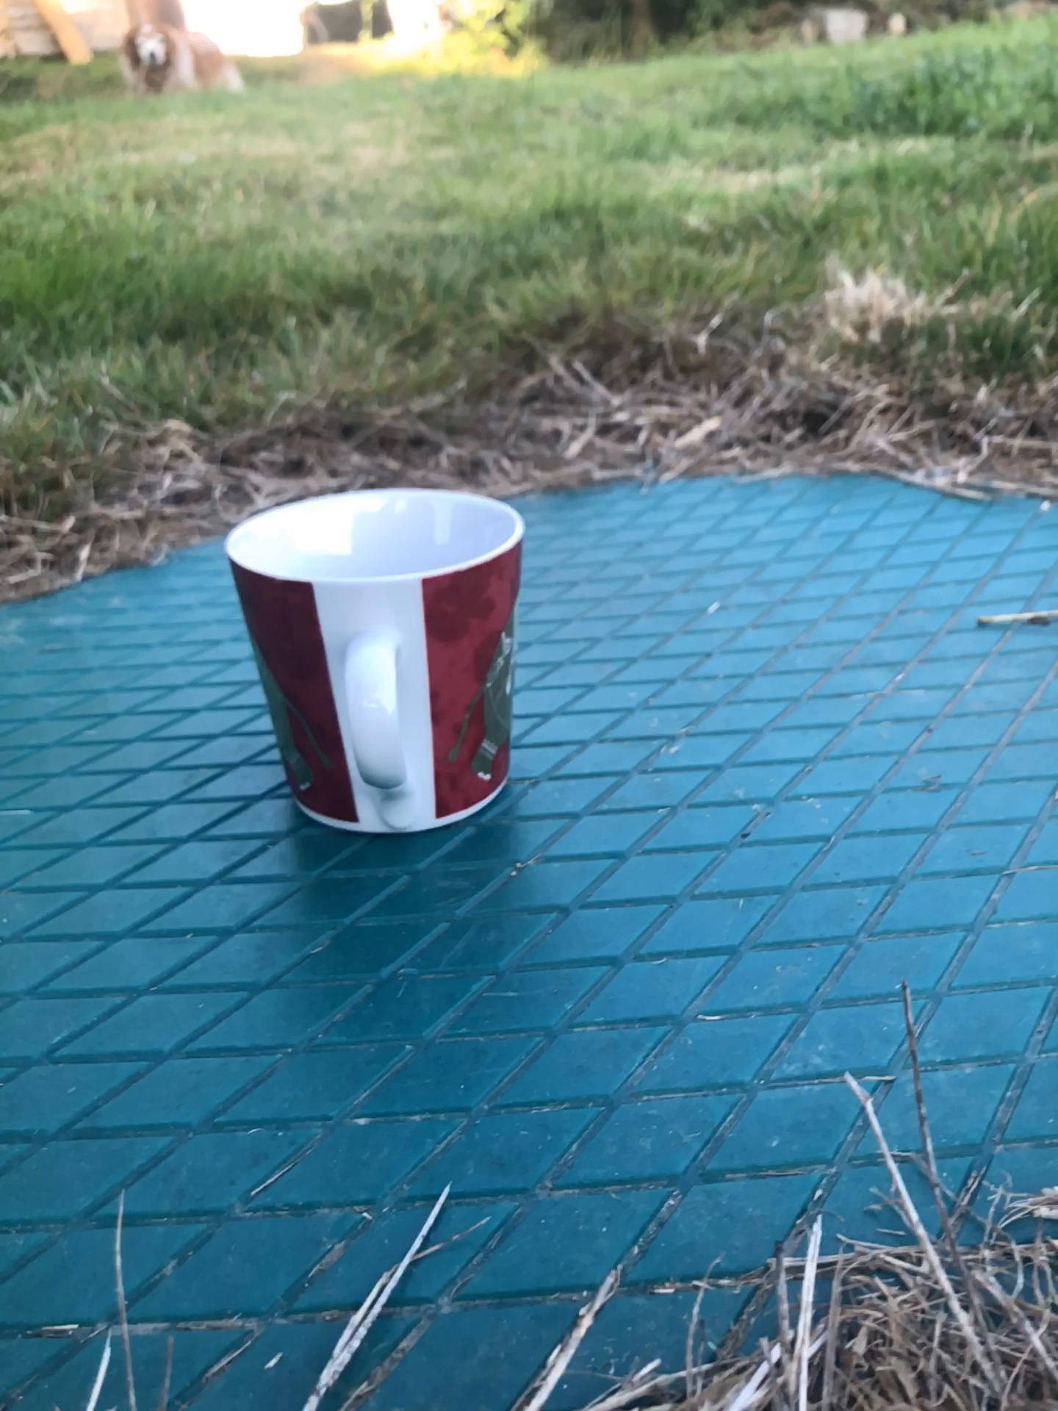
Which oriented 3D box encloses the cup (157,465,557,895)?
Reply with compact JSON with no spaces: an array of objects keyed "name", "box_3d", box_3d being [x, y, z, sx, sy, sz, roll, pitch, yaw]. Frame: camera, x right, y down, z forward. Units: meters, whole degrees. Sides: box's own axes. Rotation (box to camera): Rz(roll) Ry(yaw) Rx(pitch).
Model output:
[{"name":"cup","box_3d":[-0.040,-0.014,0.316,0.082,0.070,0.110,-4,25,-2]}]
